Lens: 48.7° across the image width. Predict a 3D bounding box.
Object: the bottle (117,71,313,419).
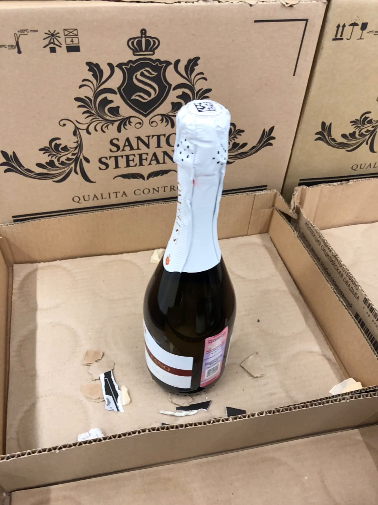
[{"bbox_3d":[0.006,0.022,0.360,0.090,0.308,0.090,1,45,-1],"label":"bottle"}]
